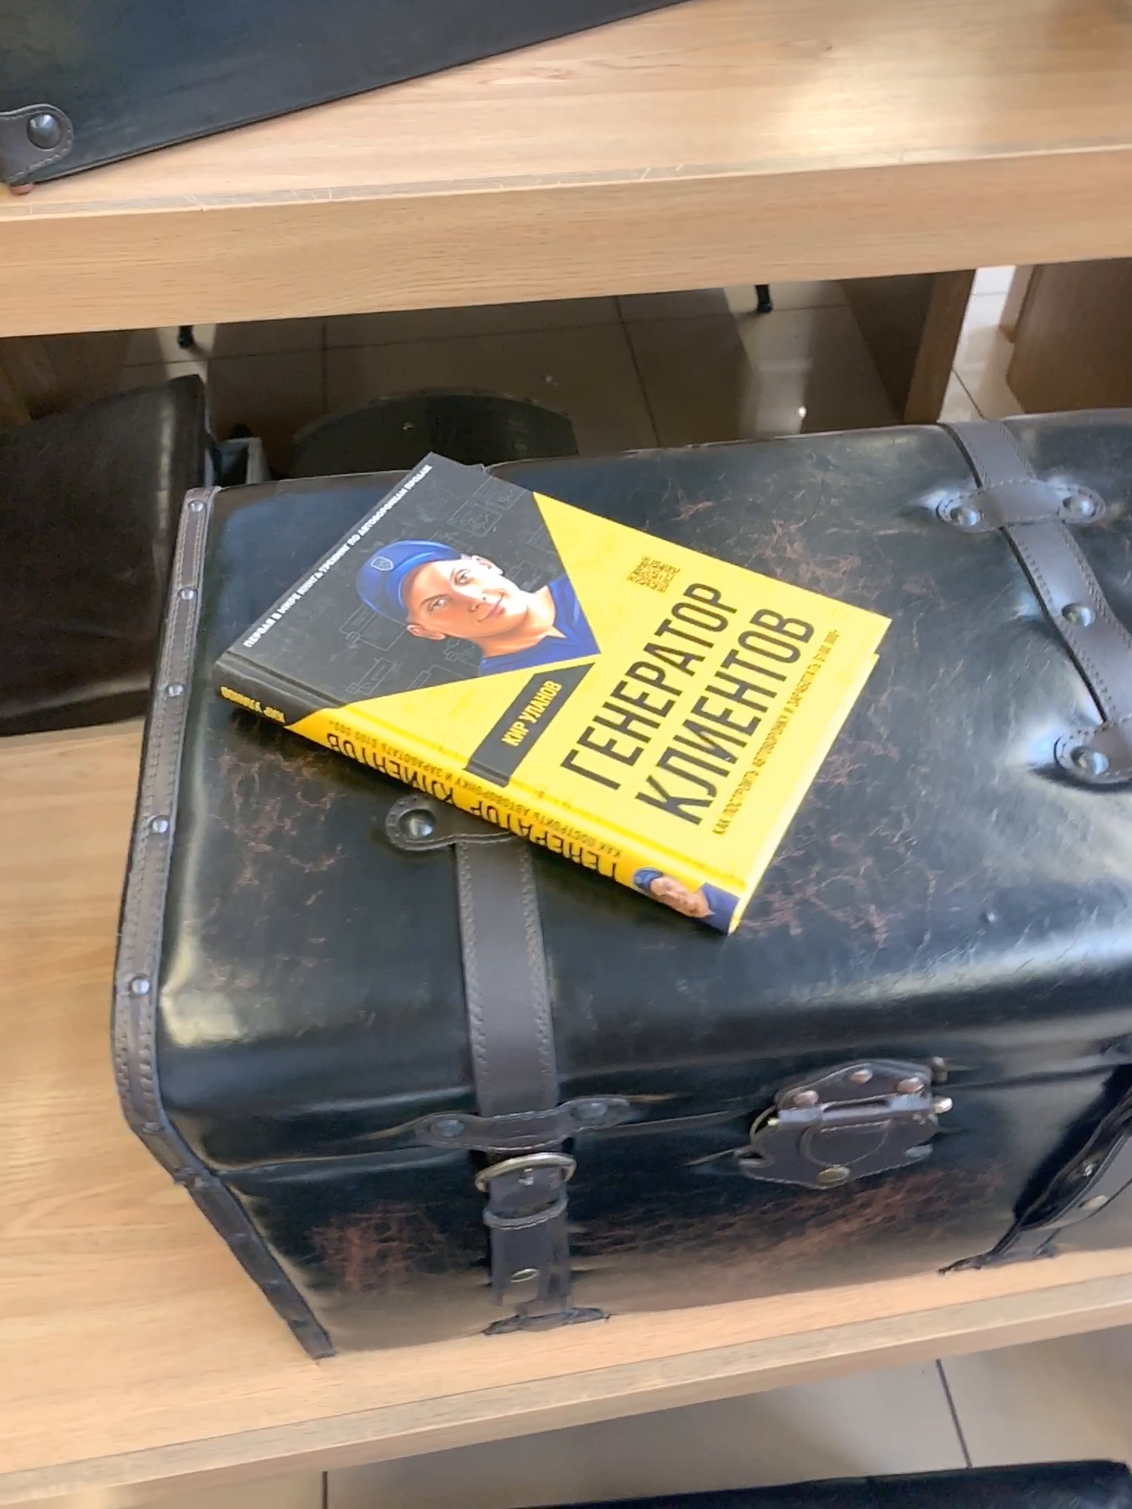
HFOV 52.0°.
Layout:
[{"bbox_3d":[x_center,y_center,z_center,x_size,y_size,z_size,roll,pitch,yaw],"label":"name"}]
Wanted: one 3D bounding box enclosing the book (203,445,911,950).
[{"bbox_3d":[-0.001,-0.040,0.491,0.242,0.030,0.168,23,54,19],"label":"book"}]
